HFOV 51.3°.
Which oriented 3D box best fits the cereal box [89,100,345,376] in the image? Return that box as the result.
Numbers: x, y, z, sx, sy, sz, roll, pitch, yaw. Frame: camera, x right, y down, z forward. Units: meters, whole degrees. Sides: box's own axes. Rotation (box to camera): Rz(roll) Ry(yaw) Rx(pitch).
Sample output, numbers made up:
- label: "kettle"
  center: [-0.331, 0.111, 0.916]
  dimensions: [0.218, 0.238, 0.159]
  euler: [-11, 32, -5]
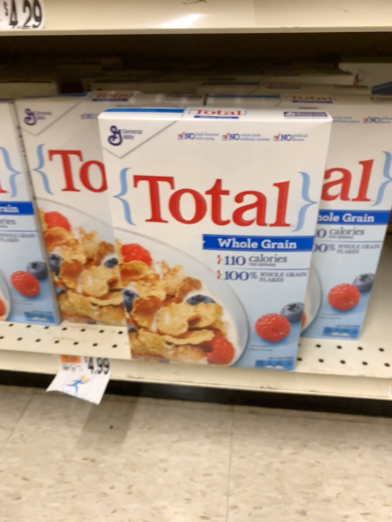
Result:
- label: "cereal box"
  center: [0.018, -0.010, 0.411]
  dimensions: [0.200, 0.278, 0.050]
  euler: [3, 32, 7]
